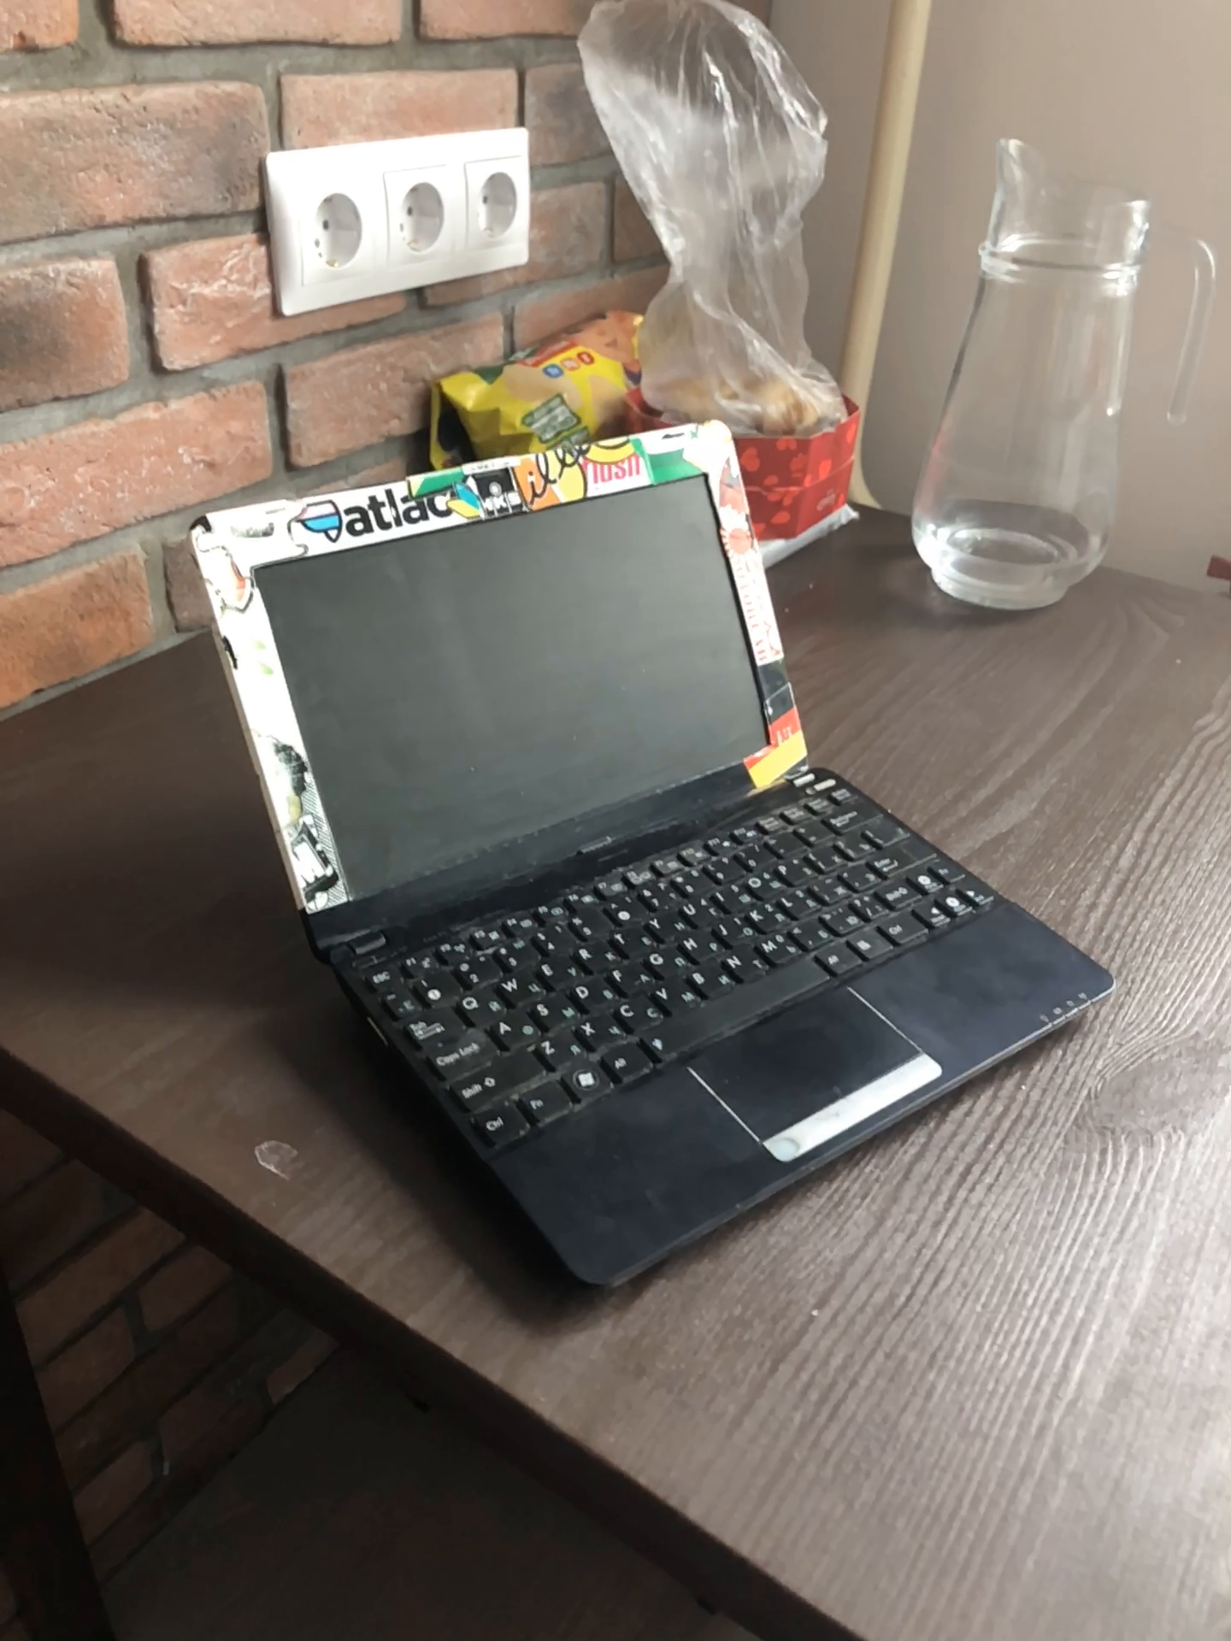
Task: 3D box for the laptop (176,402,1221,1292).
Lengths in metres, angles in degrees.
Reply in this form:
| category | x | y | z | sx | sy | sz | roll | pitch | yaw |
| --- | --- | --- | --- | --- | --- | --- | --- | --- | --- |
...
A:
| category | x | y | z | sx | sy | sz | roll | pitch | yaw |
| --- | --- | --- | --- | --- | --- | --- | --- | --- | --- |
| laptop | 0.018 | -0.029 | 0.508 | 0.257 | 0.139 | 0.268 | -19 | 40 | -31 |
